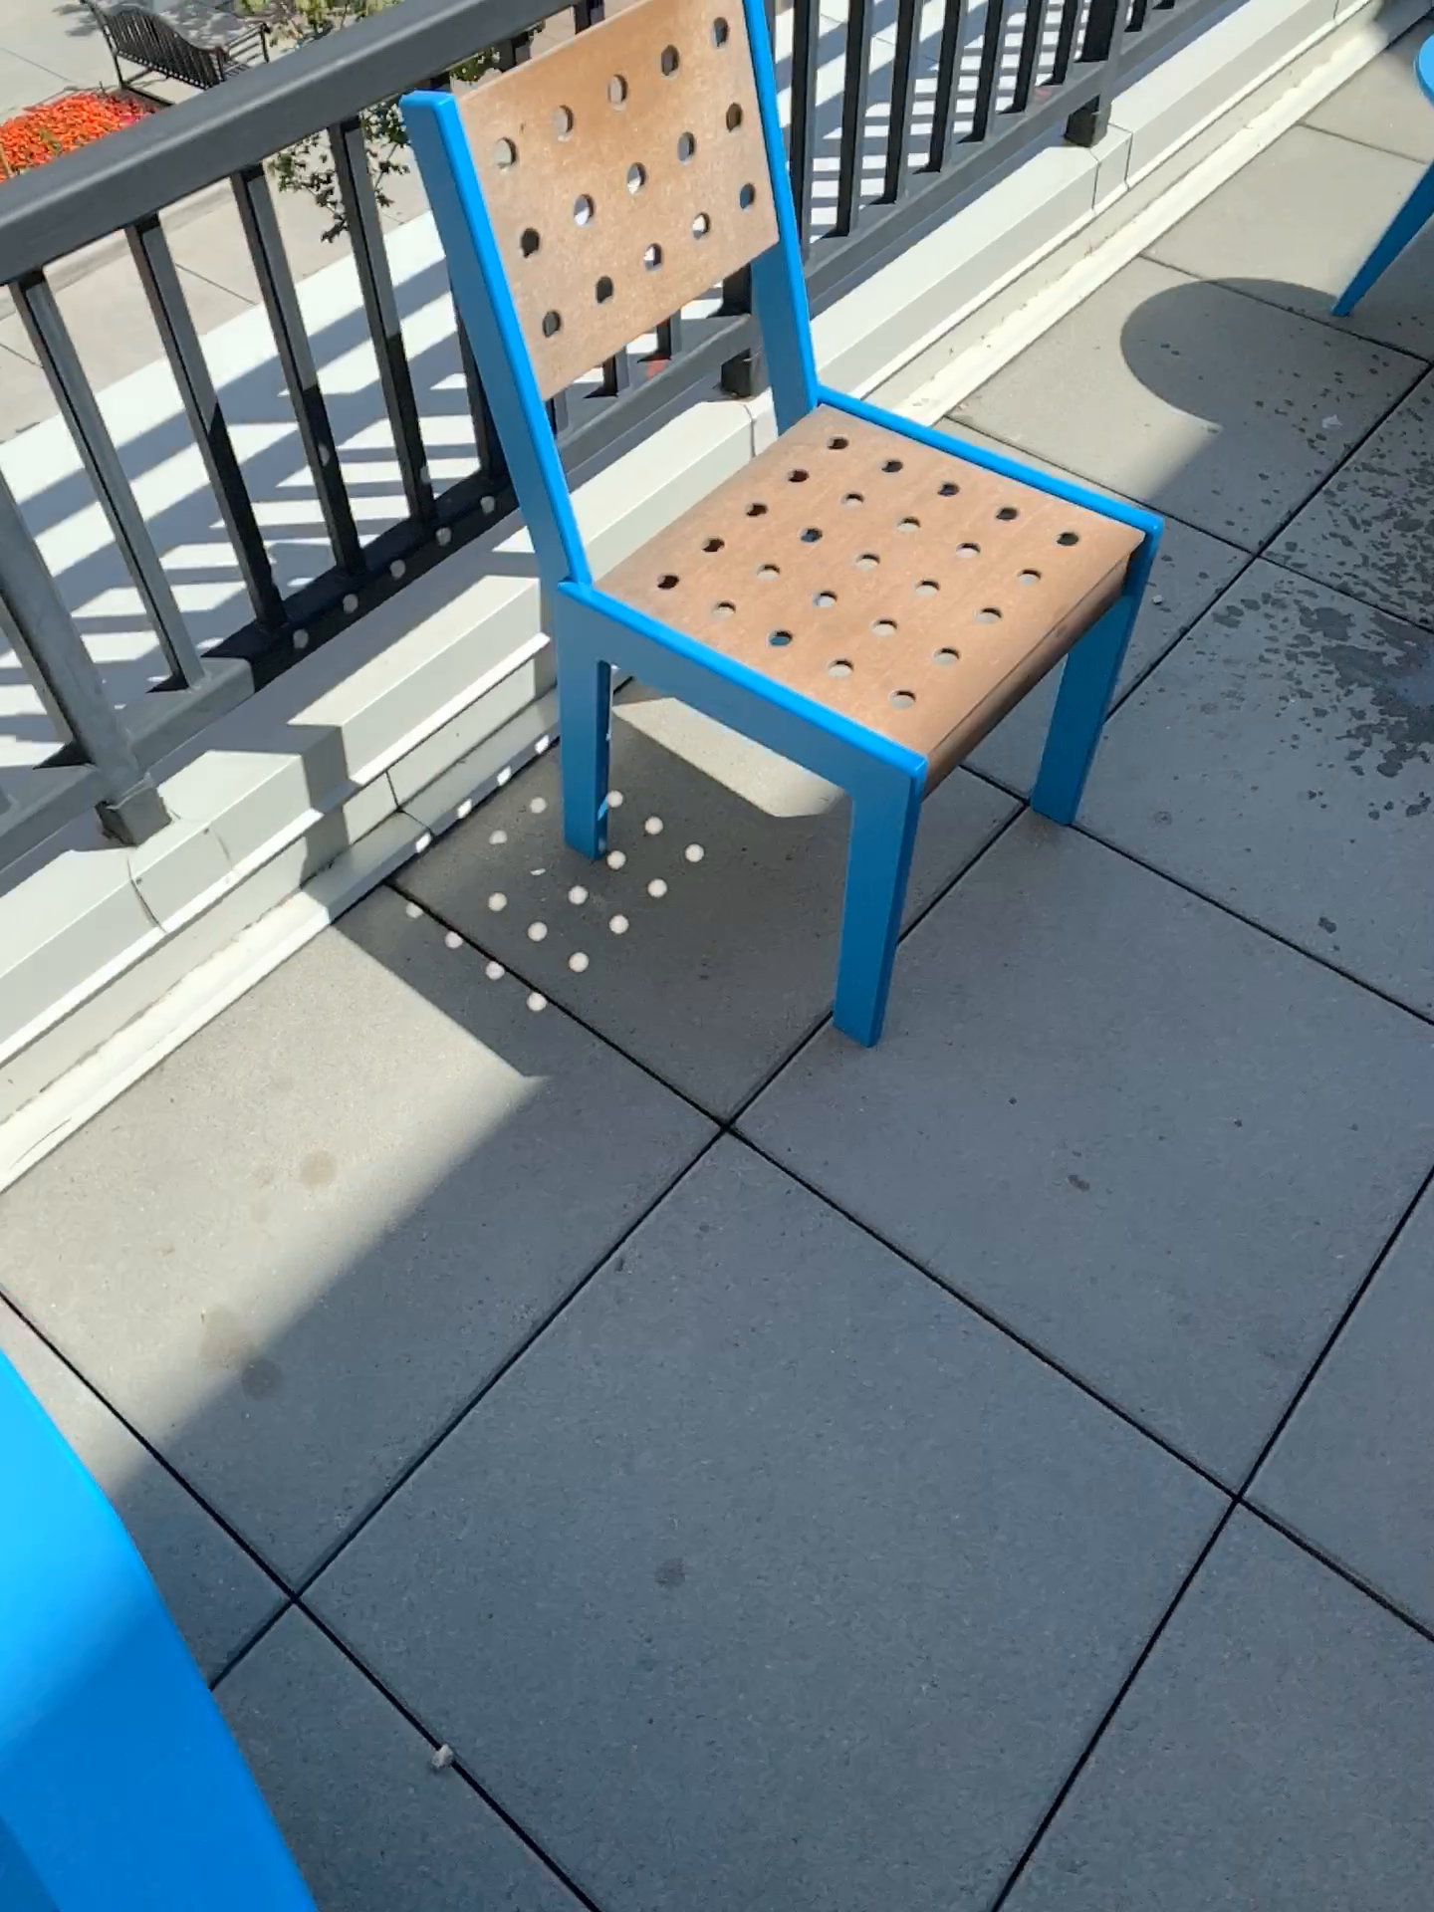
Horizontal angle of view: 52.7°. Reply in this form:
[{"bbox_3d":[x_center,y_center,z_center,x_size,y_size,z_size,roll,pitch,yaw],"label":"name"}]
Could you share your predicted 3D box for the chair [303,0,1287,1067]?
[{"bbox_3d":[0.065,-0.444,1.549,0.671,0.857,0.471,33,61,23],"label":"chair"}]
